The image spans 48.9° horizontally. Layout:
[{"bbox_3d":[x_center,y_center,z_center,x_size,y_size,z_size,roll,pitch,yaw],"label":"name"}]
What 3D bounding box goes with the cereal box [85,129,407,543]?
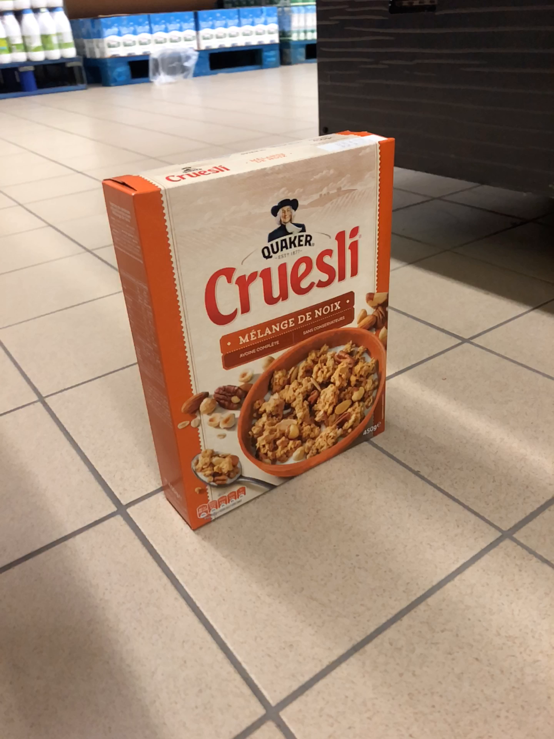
[{"bbox_3d":[-0.007,-0.027,0.444,0.201,0.249,0.060,-20,33,-27],"label":"cereal box"}]
